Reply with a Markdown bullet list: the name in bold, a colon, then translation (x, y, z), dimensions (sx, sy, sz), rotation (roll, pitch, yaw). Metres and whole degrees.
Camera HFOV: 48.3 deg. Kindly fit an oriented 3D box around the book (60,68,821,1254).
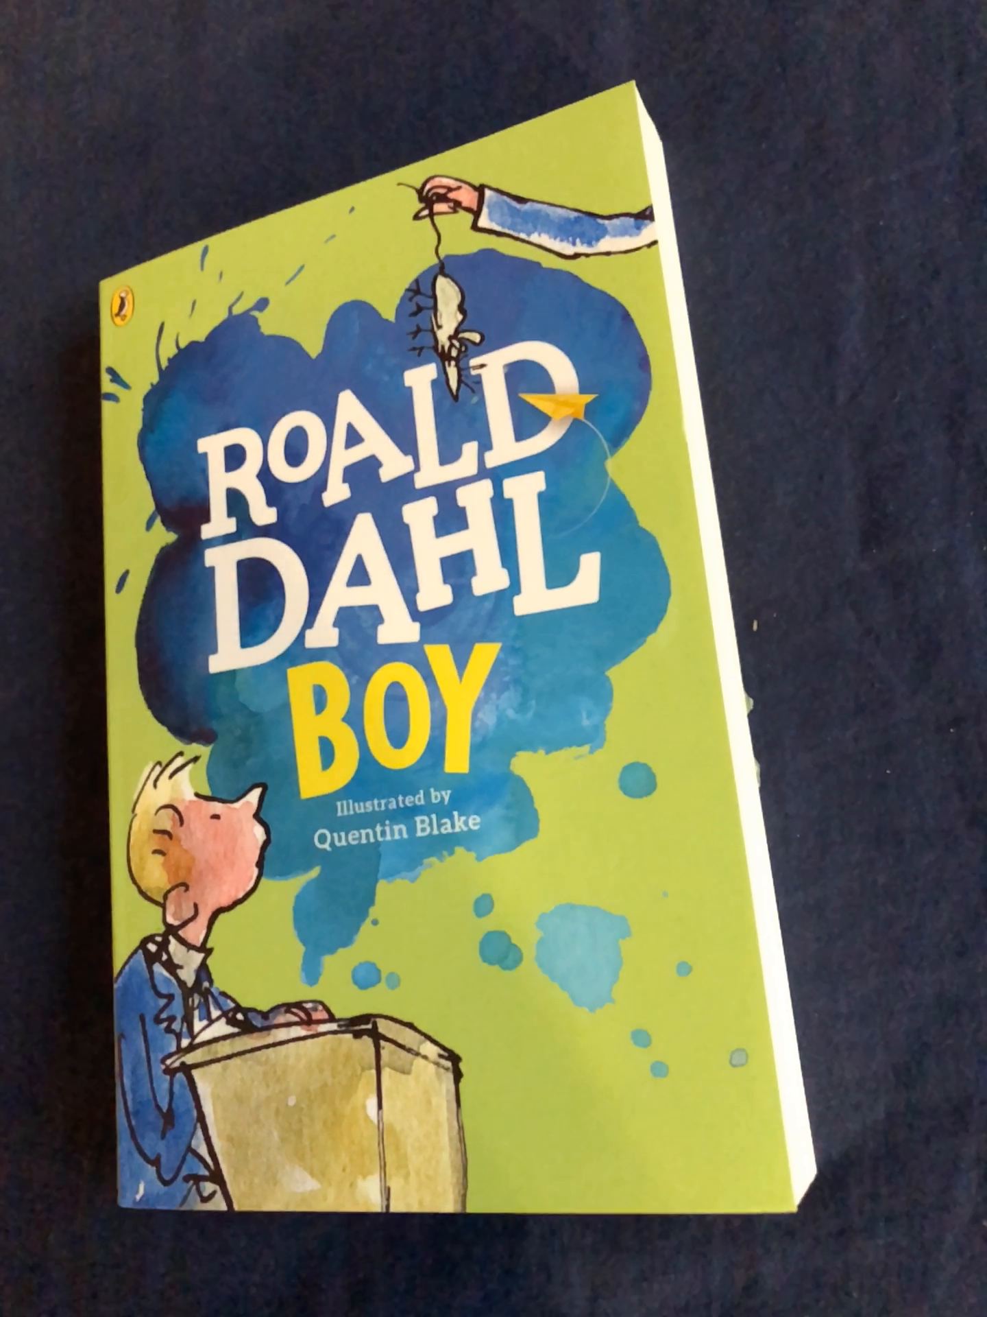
- **book**: translation (-0.019, 0.003, 0.206), dimensions (0.126, 0.027, 0.189), rotation (-9, 79, 20)
